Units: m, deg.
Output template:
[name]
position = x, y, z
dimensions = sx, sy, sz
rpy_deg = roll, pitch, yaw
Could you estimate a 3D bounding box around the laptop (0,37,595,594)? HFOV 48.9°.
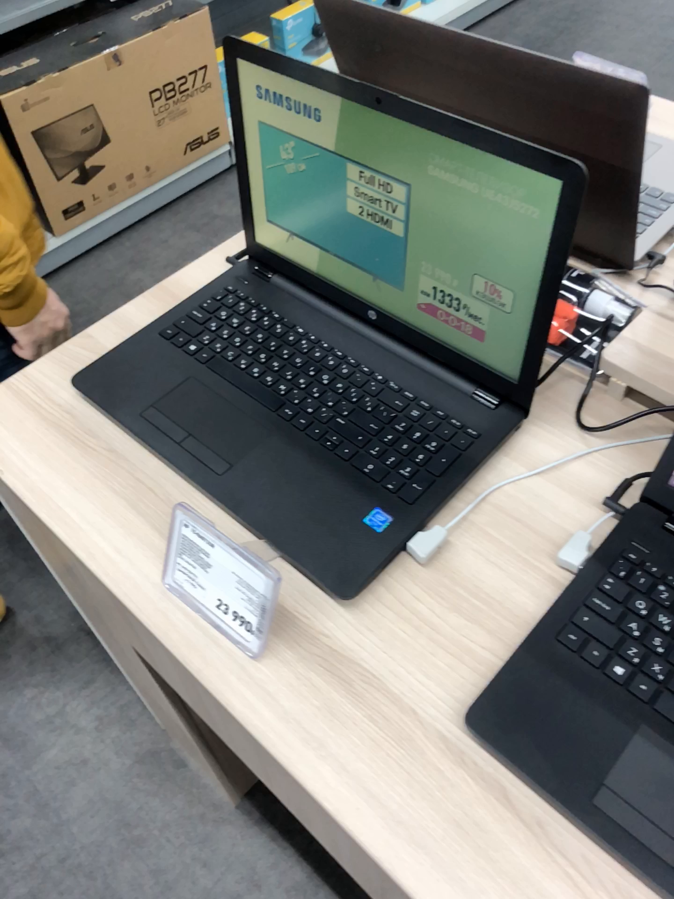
[laptop]
position = -0.042, -0.135, 0.622
dimensions = 0.363, 0.222, 0.274
rpy_deg = 34, 60, 28
